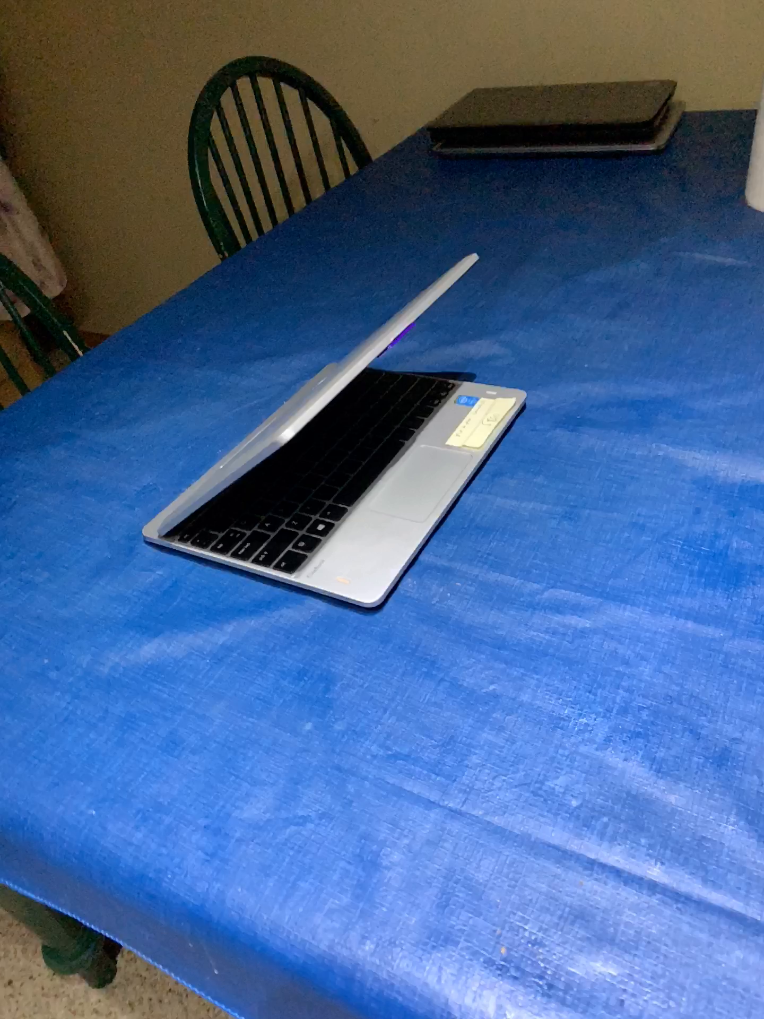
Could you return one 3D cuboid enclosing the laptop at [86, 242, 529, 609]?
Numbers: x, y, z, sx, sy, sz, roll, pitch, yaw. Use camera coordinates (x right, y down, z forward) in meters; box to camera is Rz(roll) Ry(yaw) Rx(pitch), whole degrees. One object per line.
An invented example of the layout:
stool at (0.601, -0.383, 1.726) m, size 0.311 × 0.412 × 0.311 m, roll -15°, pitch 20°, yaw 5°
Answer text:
laptop at (-0.035, -0.089, 0.602) m, size 0.207 × 0.122 × 0.281 m, roll 13°, pitch 43°, yaw 28°
